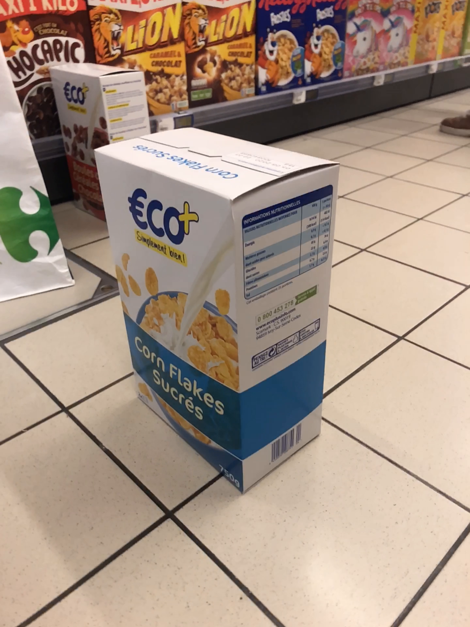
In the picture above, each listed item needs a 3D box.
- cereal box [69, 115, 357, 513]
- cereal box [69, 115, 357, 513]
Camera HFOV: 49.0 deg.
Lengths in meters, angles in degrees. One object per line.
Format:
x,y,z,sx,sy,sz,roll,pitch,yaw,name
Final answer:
-0.021,-0.010,0.496,0.131,0.298,0.210,-26,39,-33,cereal box
-0.021,-0.010,0.496,0.131,0.298,0.210,-26,39,-33,cereal box
